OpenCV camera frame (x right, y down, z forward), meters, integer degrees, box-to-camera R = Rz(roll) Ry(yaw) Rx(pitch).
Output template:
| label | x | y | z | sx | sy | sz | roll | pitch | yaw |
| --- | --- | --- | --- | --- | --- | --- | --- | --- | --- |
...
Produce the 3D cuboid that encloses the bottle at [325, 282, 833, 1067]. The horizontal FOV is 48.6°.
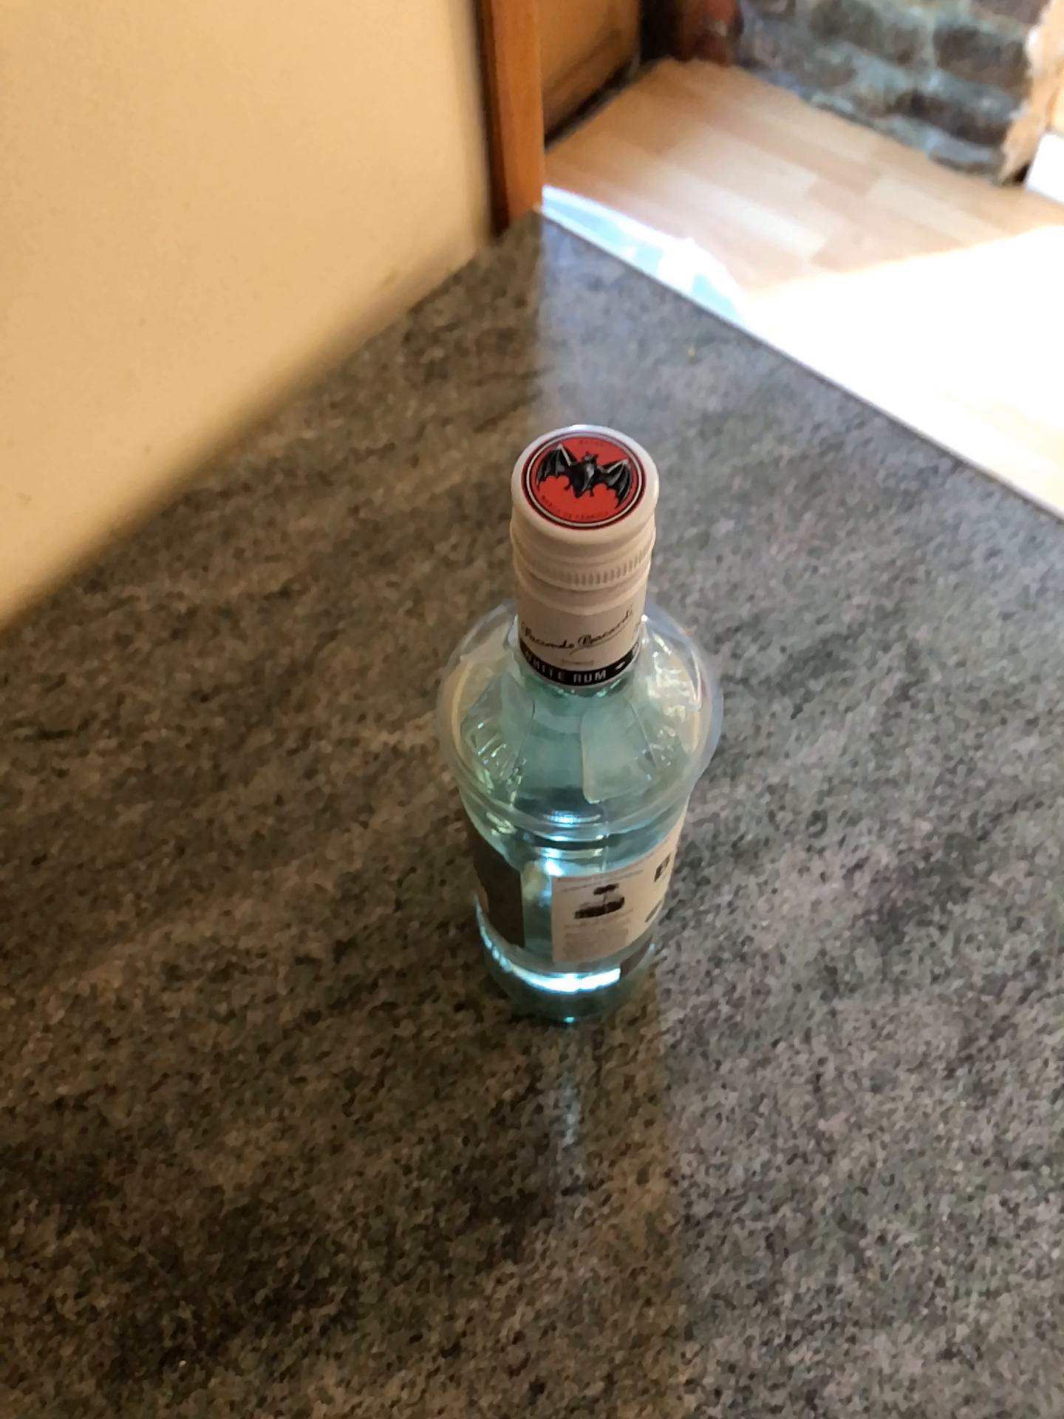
| label | x | y | z | sx | sy | sz | roll | pitch | yaw |
| --- | --- | --- | --- | --- | --- | --- | --- | --- | --- |
| bottle | 0.013 | 0.024 | 0.367 | 0.080 | 0.299 | 0.080 | -1 | 60 | 2 |
